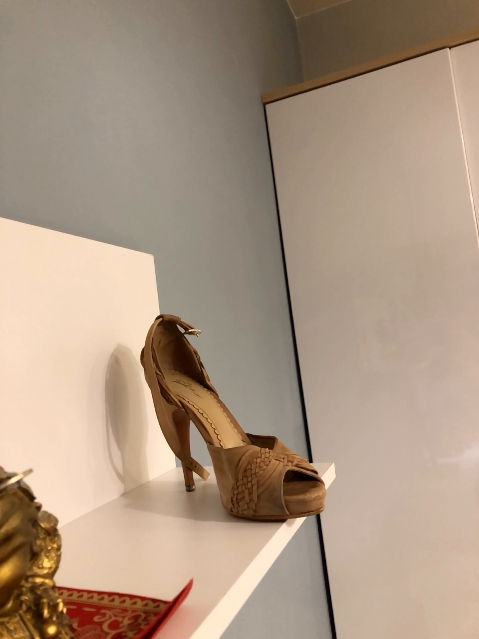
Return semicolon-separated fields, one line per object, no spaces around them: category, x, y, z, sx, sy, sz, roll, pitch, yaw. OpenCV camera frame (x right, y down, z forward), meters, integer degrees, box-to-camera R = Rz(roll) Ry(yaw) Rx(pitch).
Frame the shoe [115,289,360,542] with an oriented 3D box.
shoe;-0.015;0.080;0.491;0.100;0.180;0.210;-2;-7;-39
